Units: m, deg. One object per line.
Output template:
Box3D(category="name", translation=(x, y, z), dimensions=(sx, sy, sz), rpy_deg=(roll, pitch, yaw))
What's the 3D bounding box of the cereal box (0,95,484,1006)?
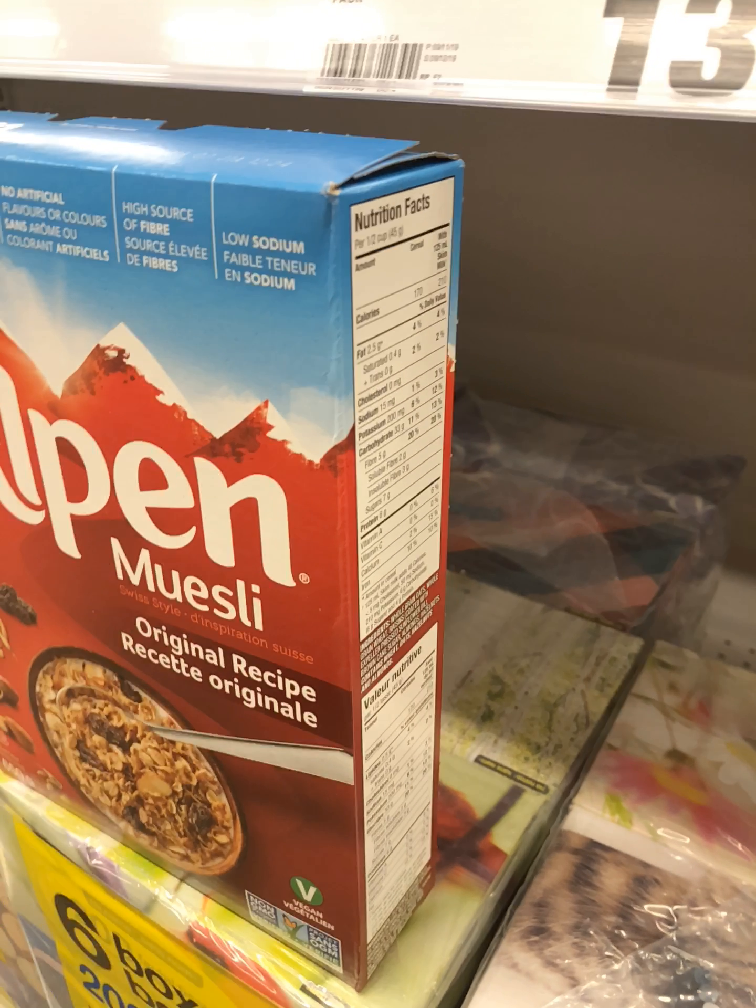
Box3D(category="cereal box", translation=(-0.068, 0.013, 0.248), dimensions=(0.180, 0.229, 0.050), rpy_deg=(17, 34, 27))
